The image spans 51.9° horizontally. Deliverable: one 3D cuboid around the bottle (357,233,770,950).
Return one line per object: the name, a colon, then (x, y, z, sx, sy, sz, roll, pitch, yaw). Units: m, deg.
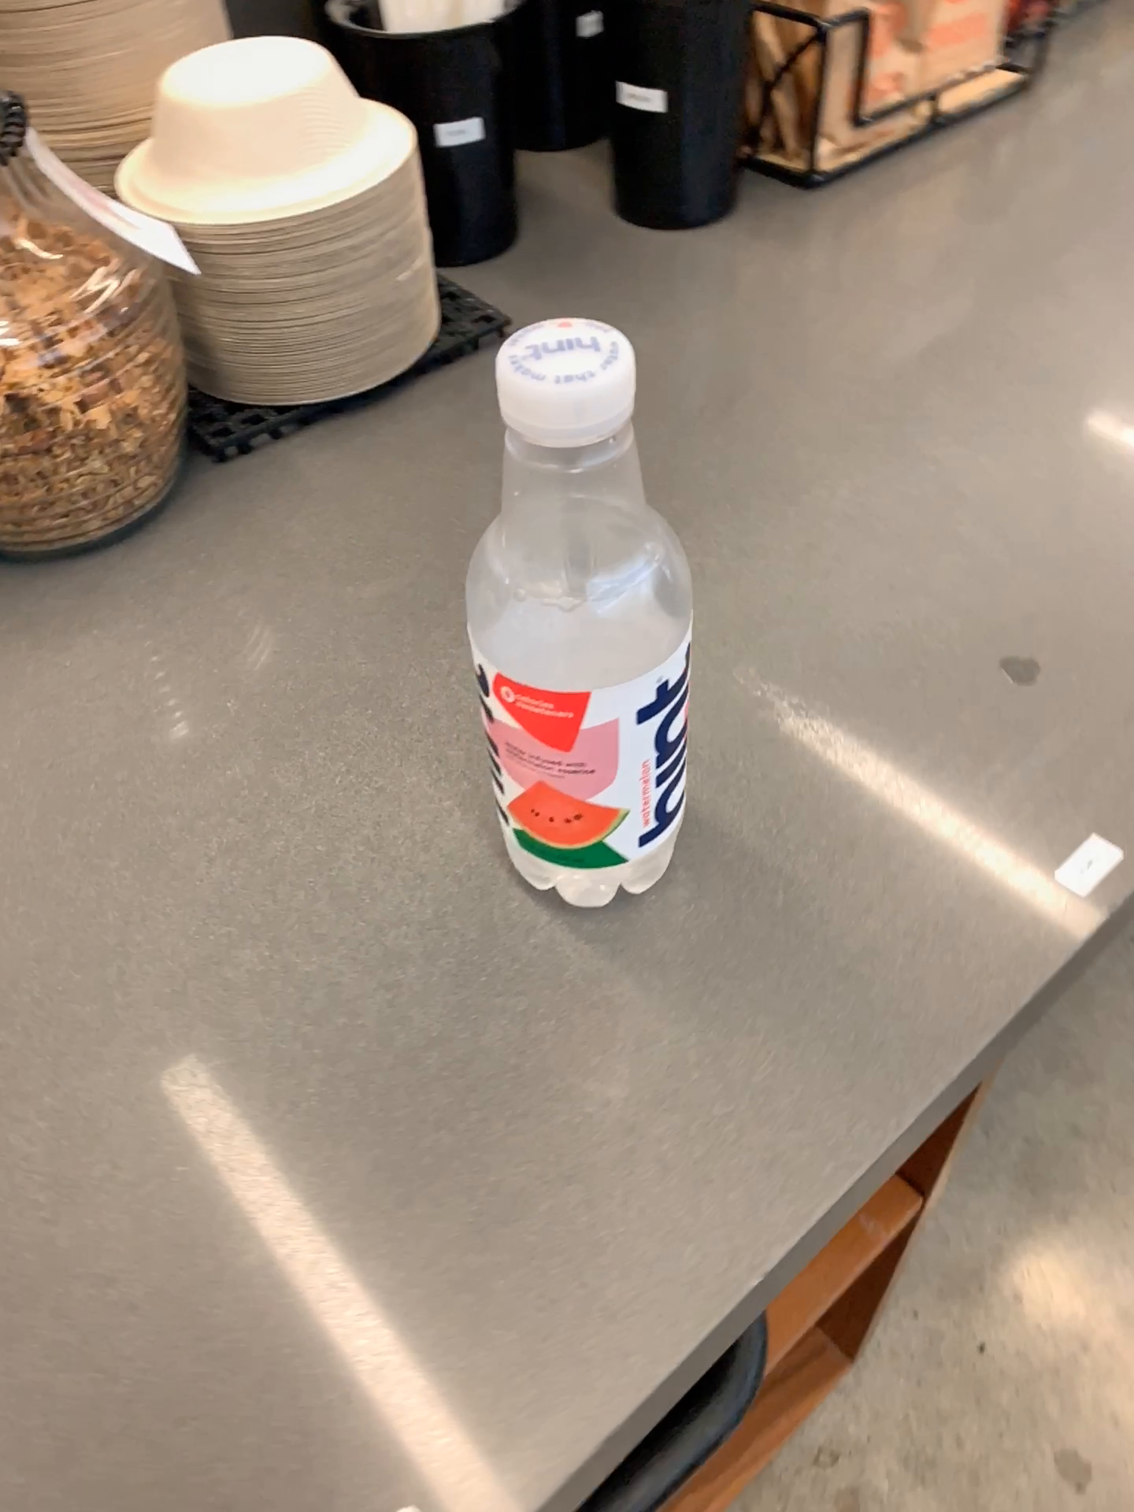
bottle: (0.004, -0.037, 0.354, 0.070, 0.199, 0.070, -2, 49, 2)
